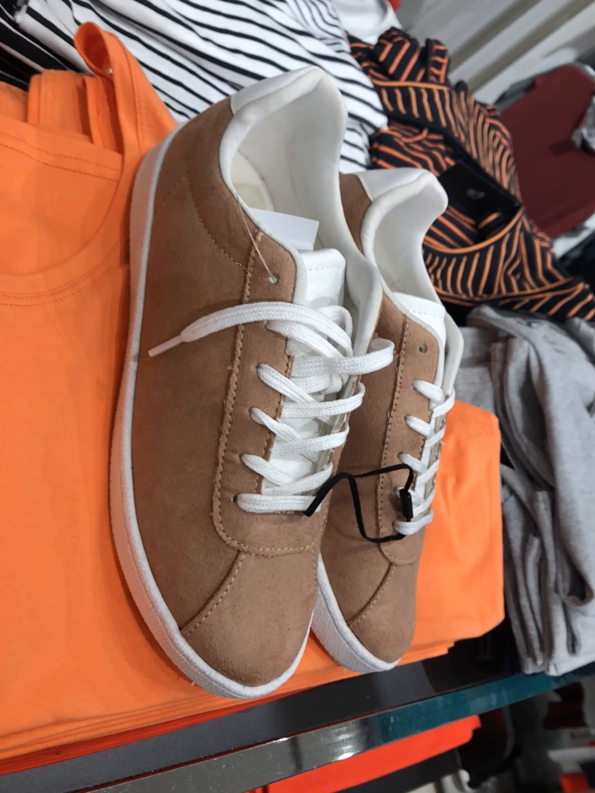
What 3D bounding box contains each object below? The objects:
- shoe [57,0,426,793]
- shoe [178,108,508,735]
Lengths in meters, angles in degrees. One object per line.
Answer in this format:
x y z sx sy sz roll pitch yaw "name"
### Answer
-0.029 -0.001 0.266 0.091 0.099 0.250 7 75 -47 "shoe"
0.019 0.011 0.328 0.091 0.099 0.250 3 78 -48 "shoe"
